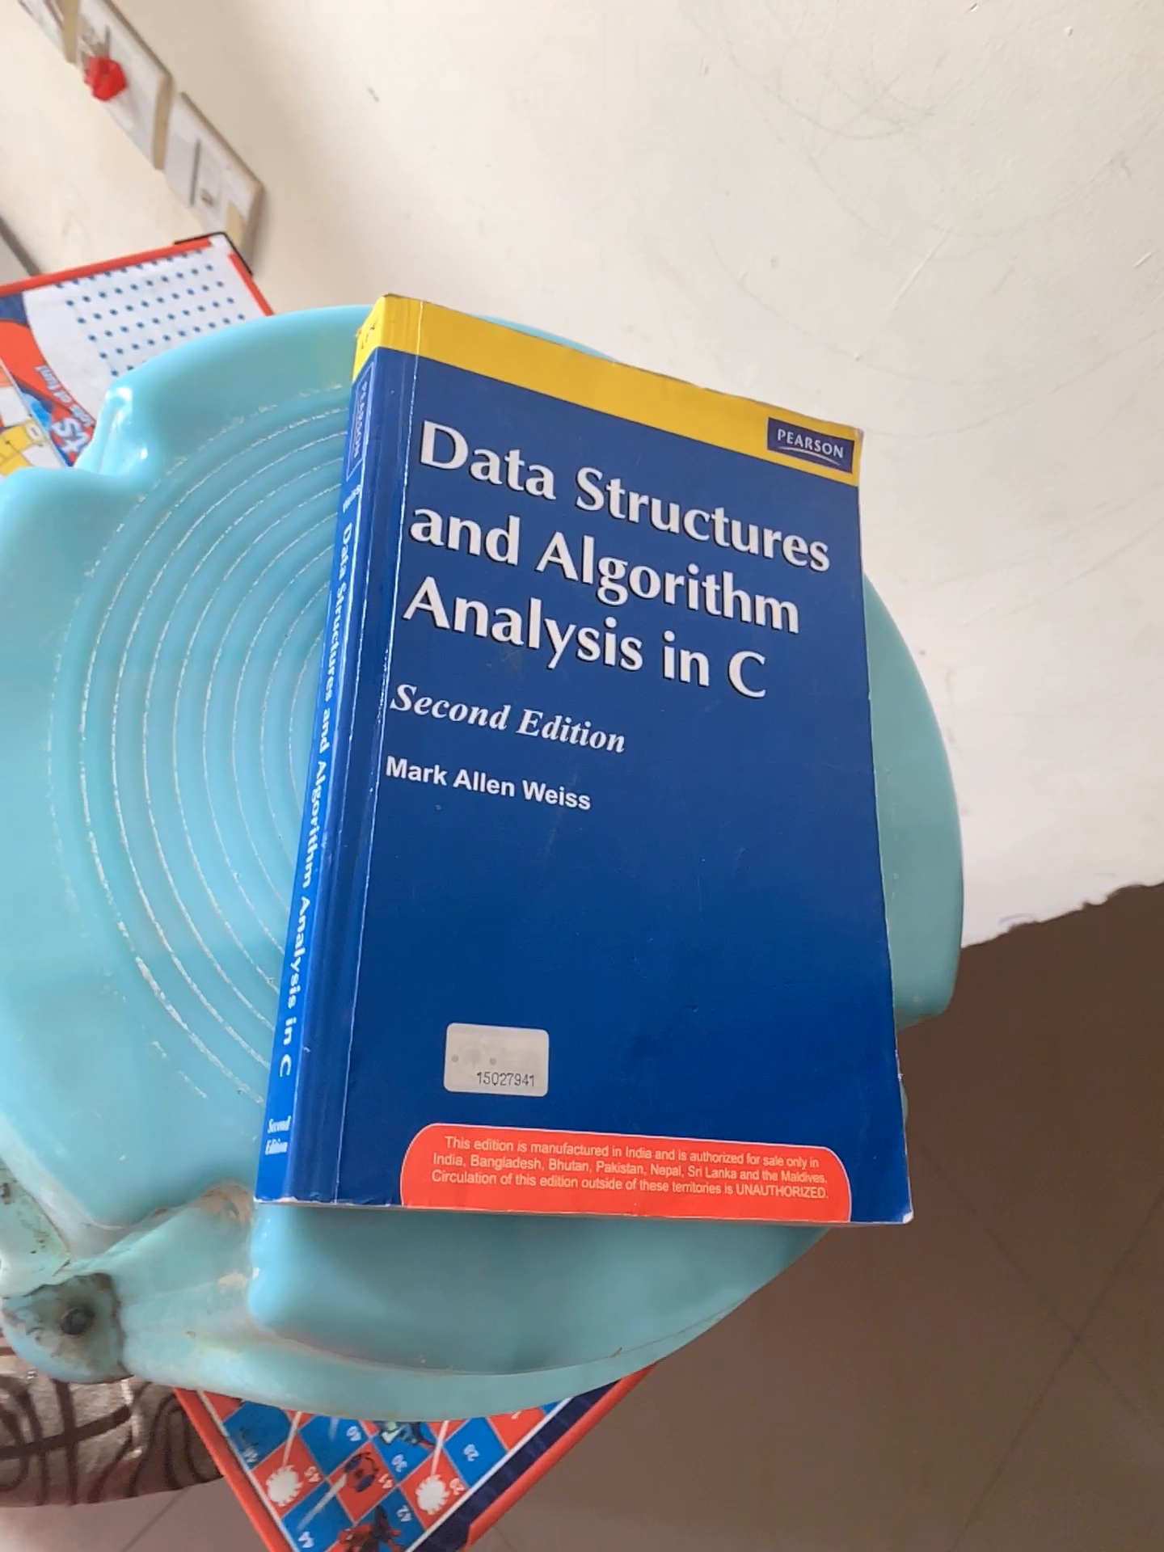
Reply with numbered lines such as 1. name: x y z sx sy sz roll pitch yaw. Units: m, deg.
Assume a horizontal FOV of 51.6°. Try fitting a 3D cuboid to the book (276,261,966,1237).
1. book: 0.016 -0.008 0.319 0.160 0.030 0.241 9 68 -21
